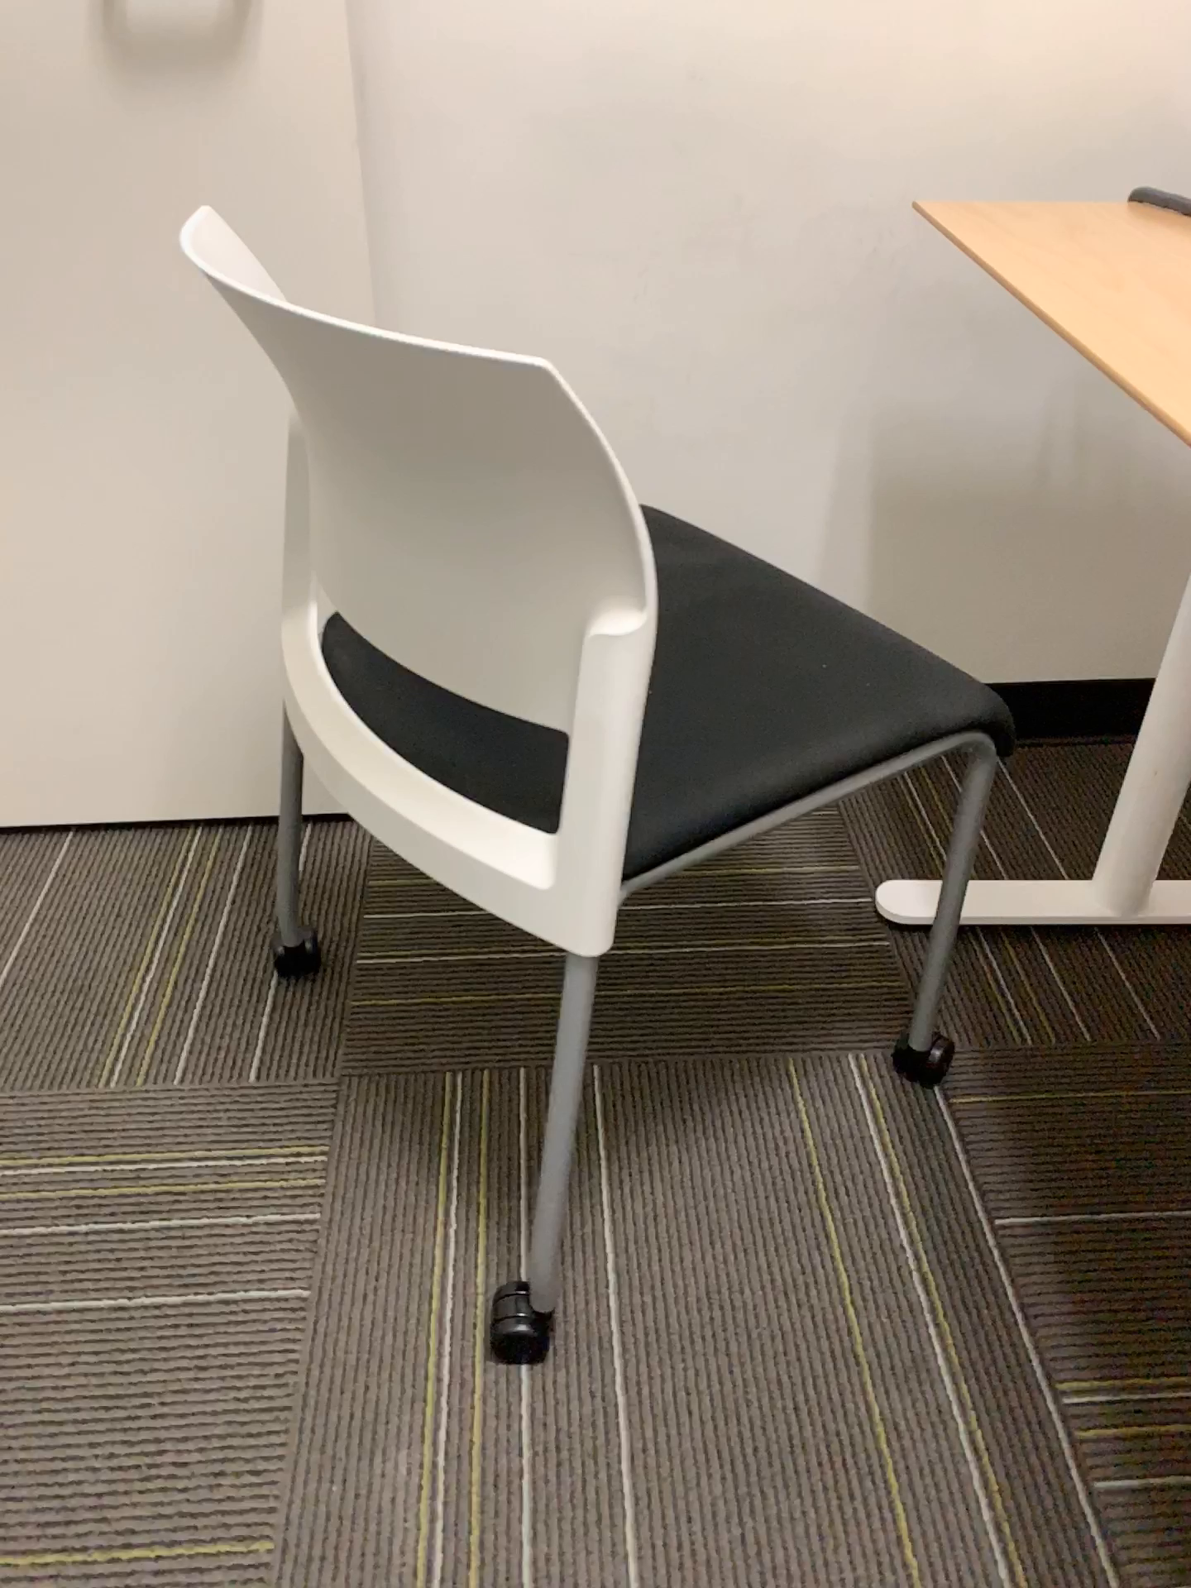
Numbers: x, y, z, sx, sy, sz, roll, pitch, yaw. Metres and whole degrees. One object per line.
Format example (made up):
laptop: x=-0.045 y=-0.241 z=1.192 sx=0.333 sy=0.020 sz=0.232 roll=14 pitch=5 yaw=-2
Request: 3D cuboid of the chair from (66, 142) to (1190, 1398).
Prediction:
chair: x=0.001 y=-0.081 z=1.056 sx=0.580 sy=0.755 sz=0.613 roll=-19 pitch=40 yaw=-26
